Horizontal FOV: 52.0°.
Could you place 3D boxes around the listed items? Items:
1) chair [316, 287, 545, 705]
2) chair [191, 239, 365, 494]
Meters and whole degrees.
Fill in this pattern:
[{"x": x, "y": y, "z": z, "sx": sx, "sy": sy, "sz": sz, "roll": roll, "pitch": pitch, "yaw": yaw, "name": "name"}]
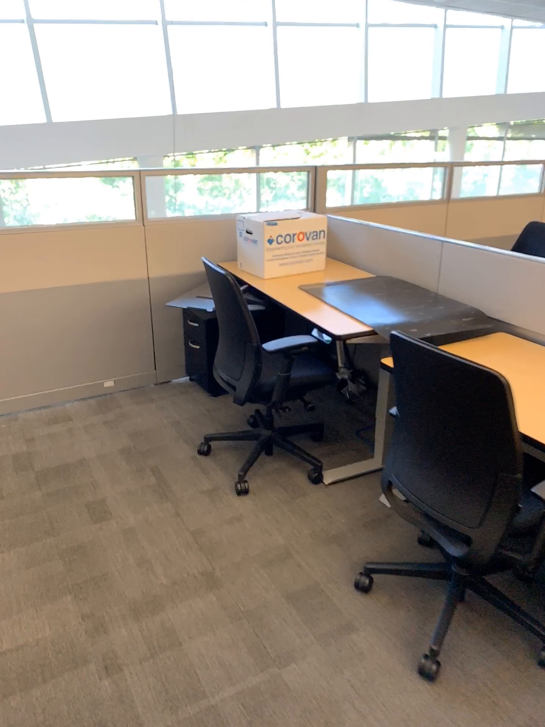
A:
[{"x": 0.538, "y": 0.347, "z": 1.711, "sx": 0.580, "sy": 0.995, "sz": 0.523, "roll": -12, "pitch": 25, "yaw": -28, "name": "chair"}, {"x": -0.004, "y": -0.021, "z": 2.644, "sx": 0.600, "sy": 0.995, "sz": 0.563, "roll": -8, "pitch": 23, "yaw": -20, "name": "chair"}]
